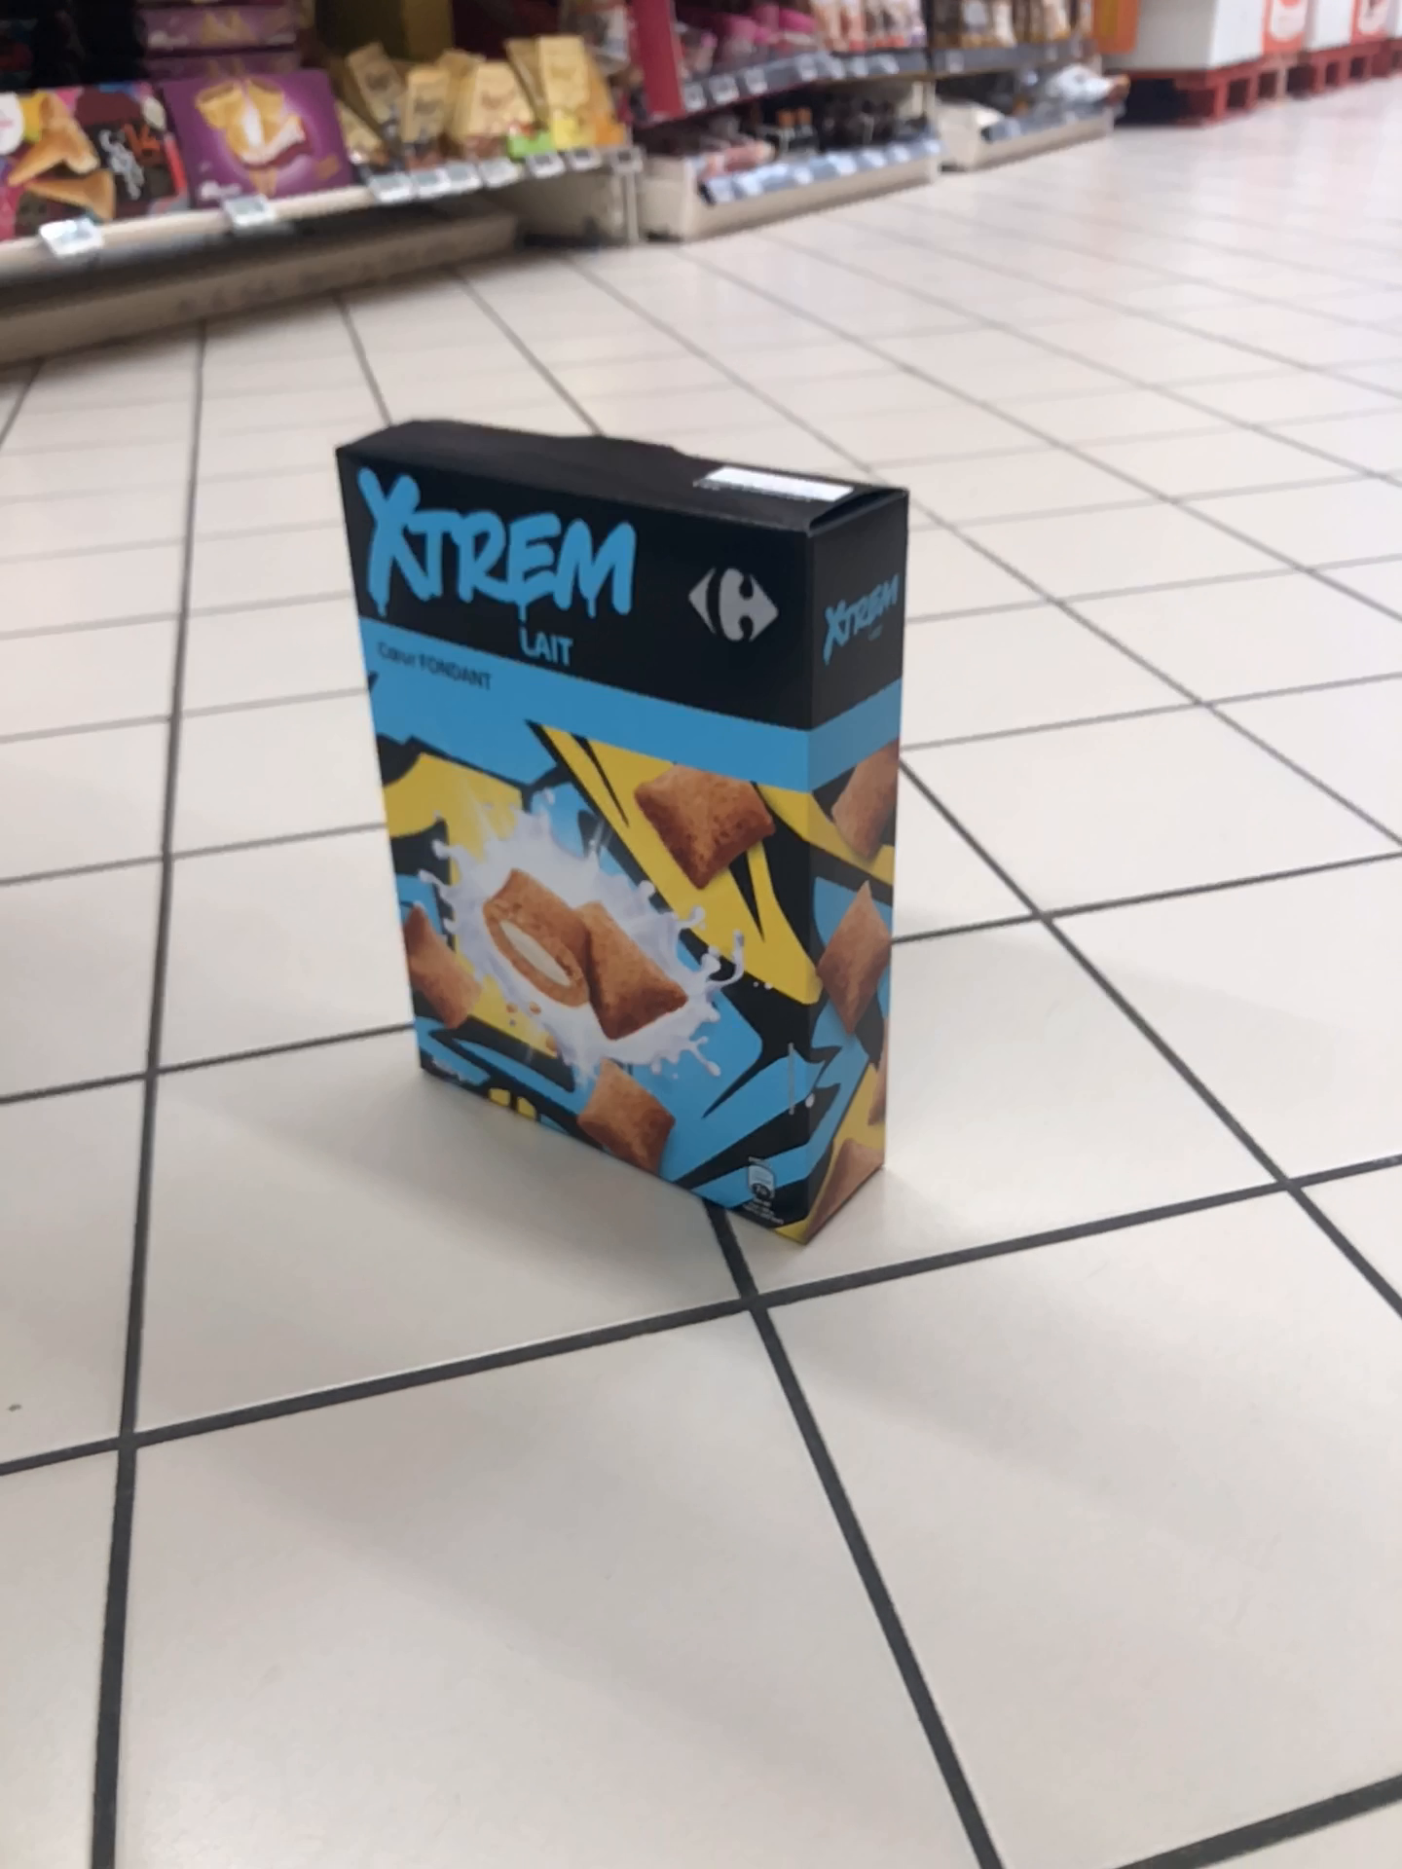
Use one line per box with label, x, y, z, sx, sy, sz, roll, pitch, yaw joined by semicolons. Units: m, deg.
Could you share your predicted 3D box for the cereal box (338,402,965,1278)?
cereal box;-0.017;-0.036;0.543;0.200;0.258;0.060;19;36;33
